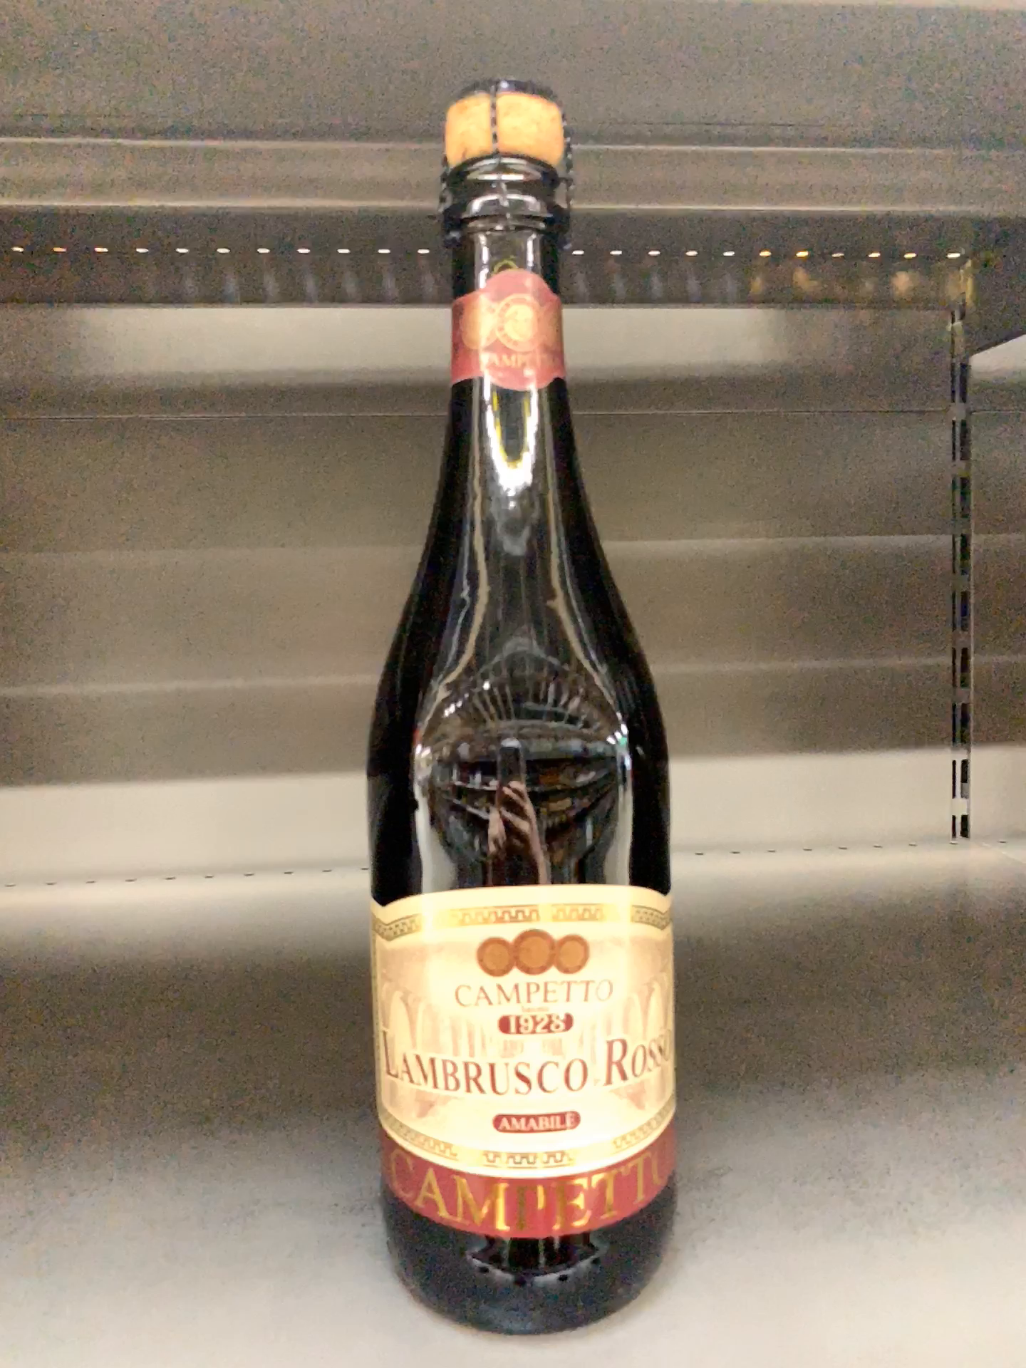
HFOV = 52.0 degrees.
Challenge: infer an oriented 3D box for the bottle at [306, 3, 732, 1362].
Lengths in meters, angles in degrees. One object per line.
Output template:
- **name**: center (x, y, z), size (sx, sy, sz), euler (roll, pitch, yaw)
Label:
- **bottle**: center (0.000, 0.002, 0.276), size (0.090, 0.300, 0.080), euler (-2, 4, -7)
